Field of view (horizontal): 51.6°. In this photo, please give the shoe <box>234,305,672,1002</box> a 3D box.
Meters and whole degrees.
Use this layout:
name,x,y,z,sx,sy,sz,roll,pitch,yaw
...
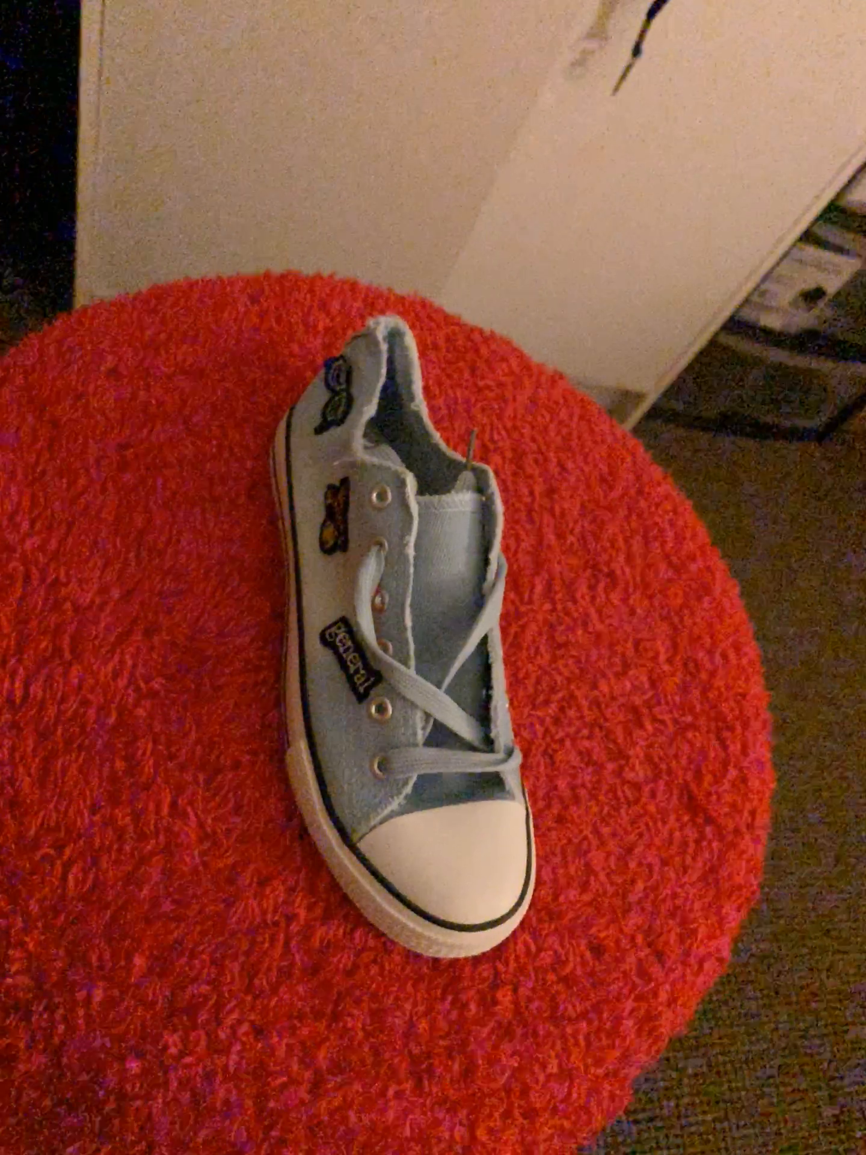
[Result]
name,x,y,z,sx,sy,sz,roll,pitch,yaw
shoe,-0.009,0.020,0.359,0.097,0.087,0.251,-2,62,-24
